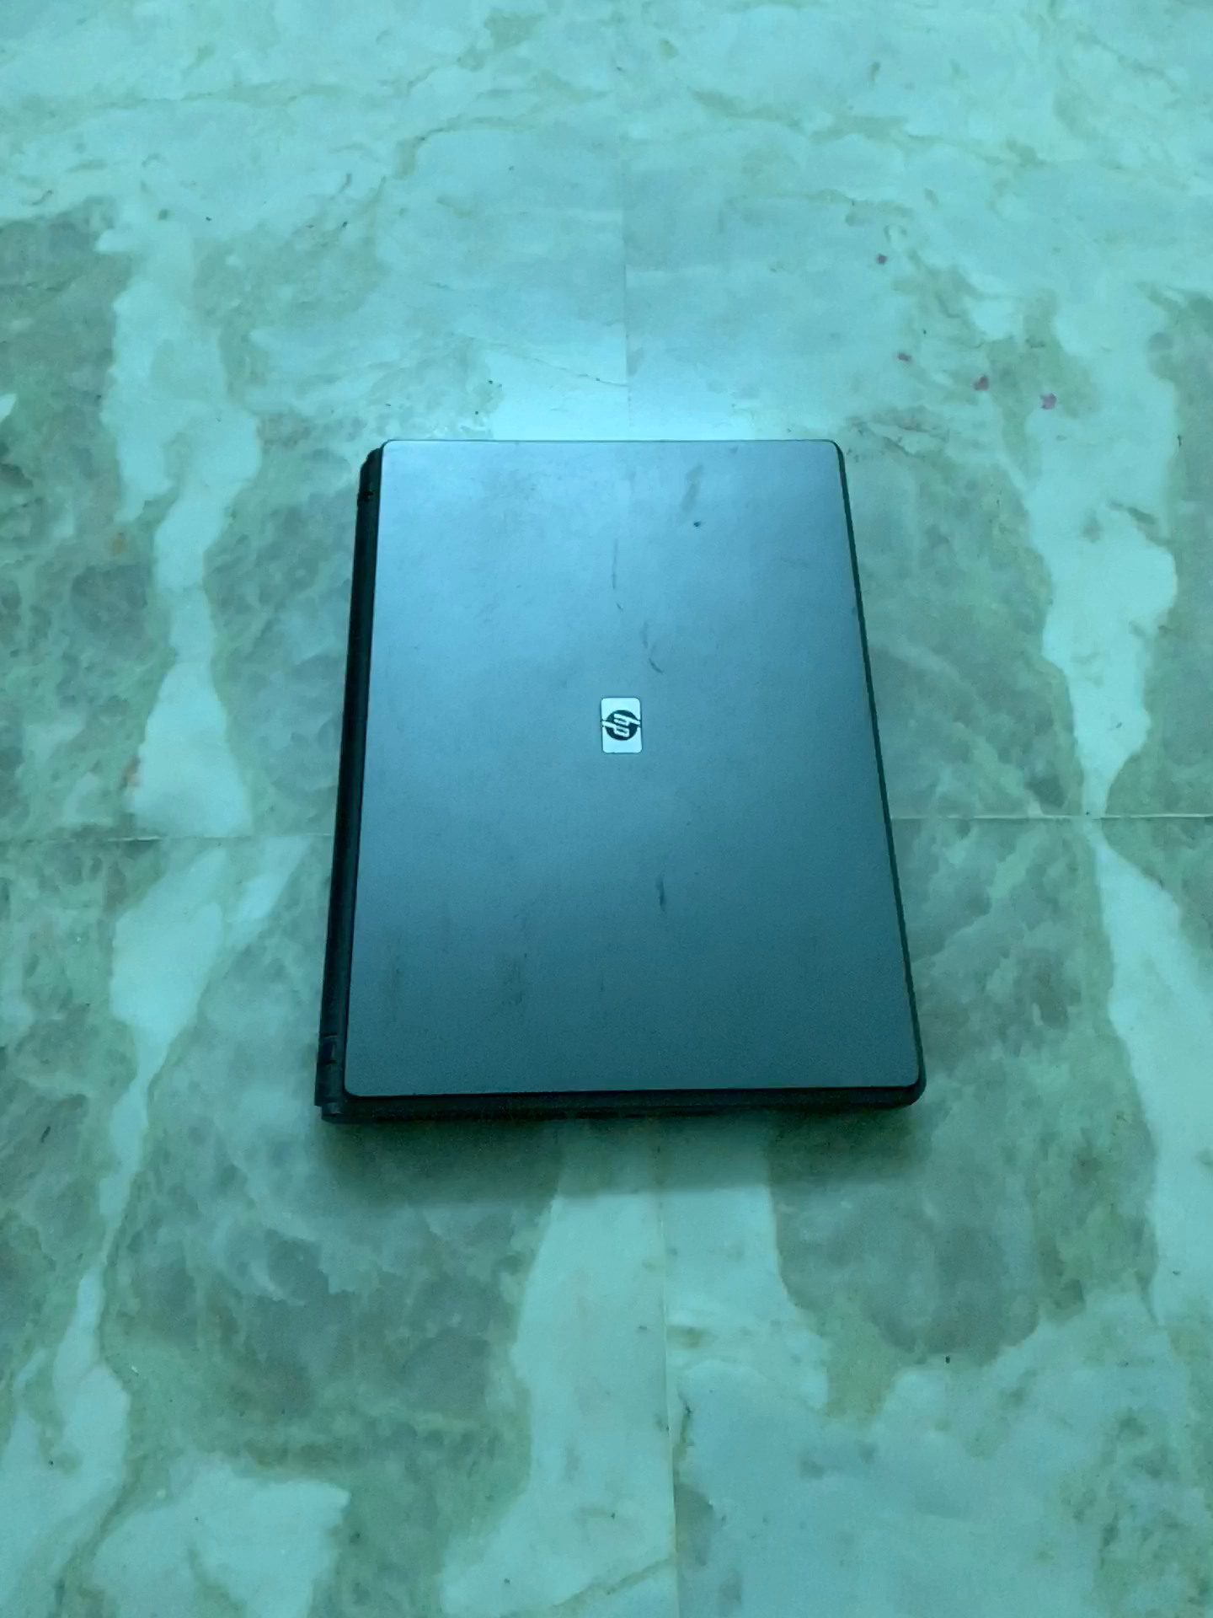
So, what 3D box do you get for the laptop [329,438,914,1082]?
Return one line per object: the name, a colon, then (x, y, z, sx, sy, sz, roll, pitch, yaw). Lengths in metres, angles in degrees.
laptop: (0.001, -0.038, 0.545, 0.226, 0.001, 0.311, -2, 66, -1)
